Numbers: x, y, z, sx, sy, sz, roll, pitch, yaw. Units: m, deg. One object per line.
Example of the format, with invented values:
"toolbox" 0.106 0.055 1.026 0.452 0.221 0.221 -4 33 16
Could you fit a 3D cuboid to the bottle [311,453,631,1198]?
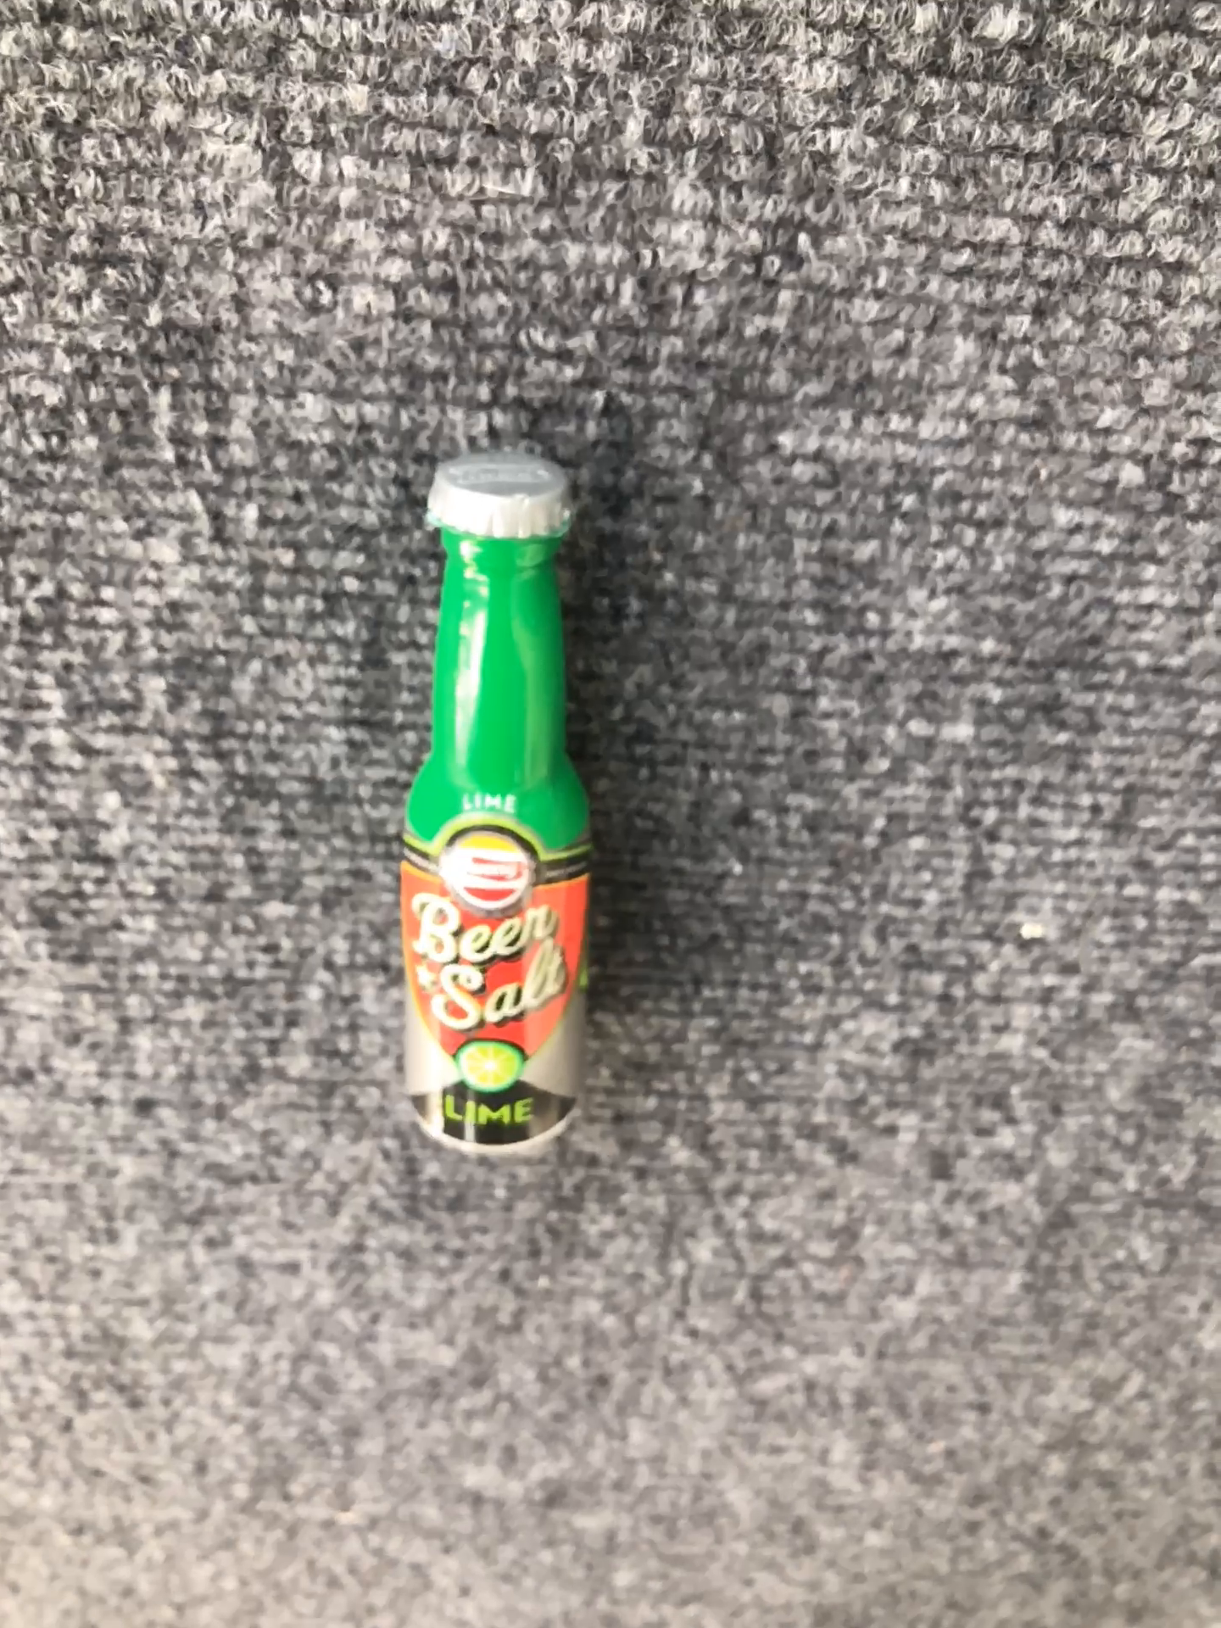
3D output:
"bottle" -0.018 0.007 0.187 0.033 0.030 0.102 1 127 -4
